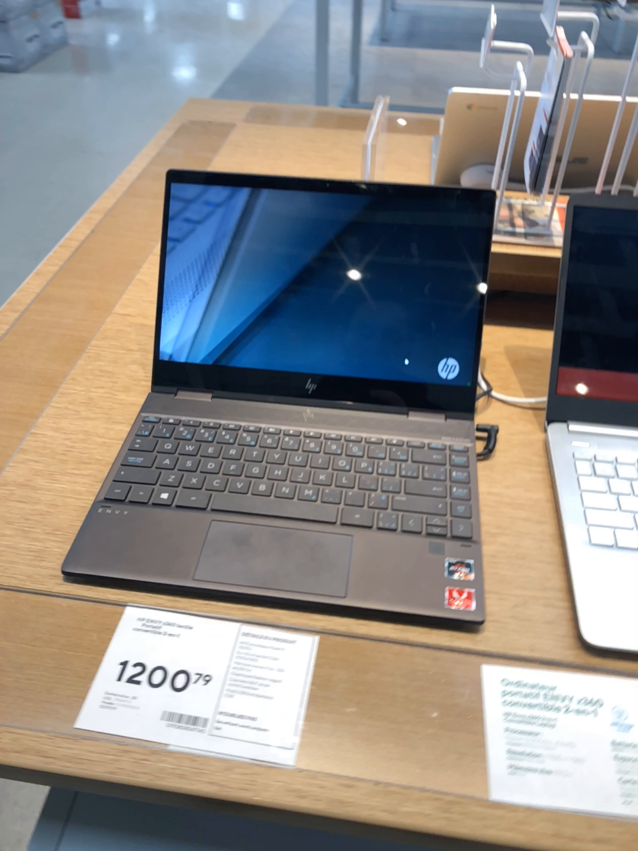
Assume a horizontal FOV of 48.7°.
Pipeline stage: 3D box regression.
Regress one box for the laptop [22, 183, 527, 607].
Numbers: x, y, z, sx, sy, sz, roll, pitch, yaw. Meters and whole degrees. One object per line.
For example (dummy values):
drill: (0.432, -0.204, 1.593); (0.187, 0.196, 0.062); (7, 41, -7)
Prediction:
laptop: (-0.010, -0.049, 0.576); (0.293, 0.162, 0.319); (5, 41, 5)
